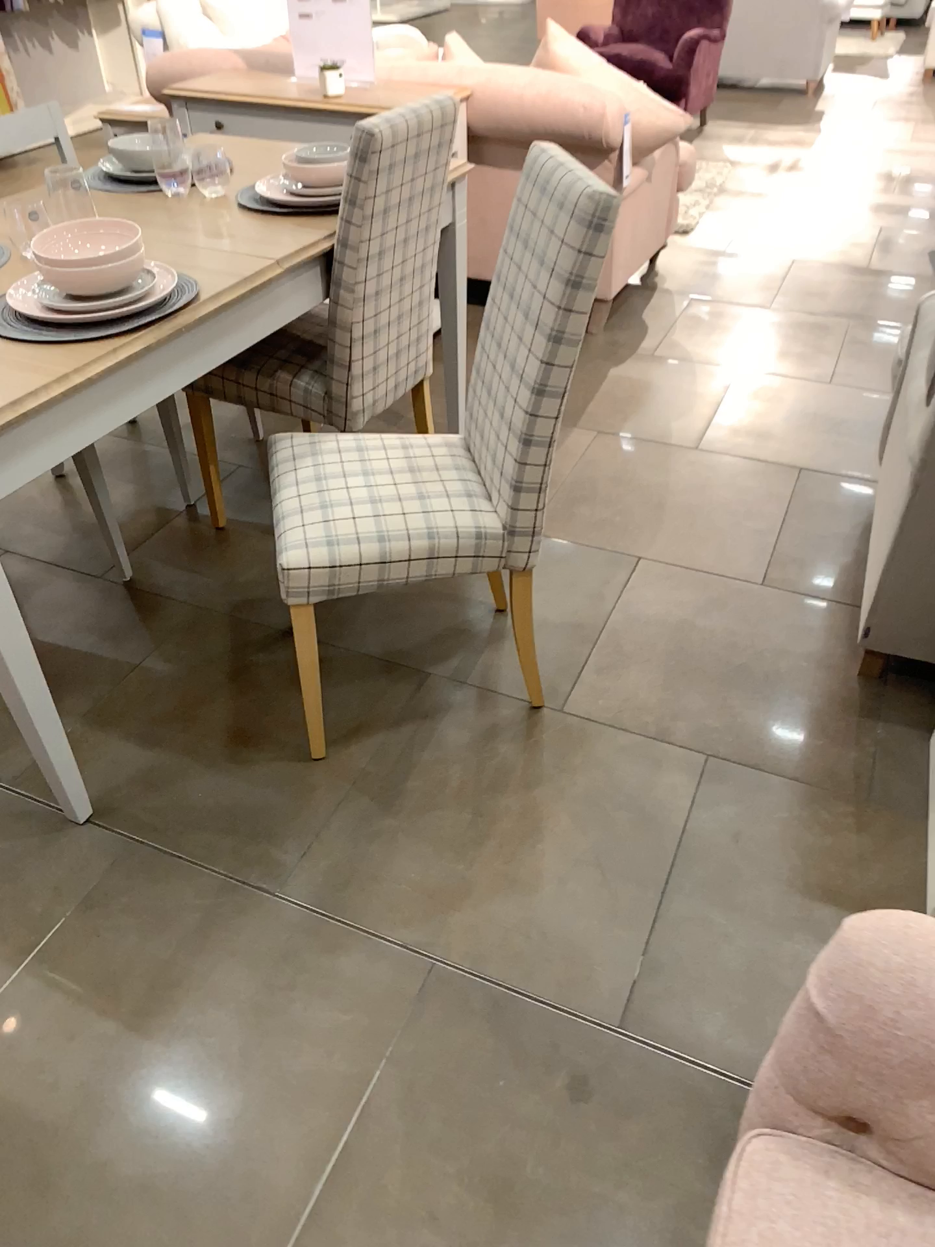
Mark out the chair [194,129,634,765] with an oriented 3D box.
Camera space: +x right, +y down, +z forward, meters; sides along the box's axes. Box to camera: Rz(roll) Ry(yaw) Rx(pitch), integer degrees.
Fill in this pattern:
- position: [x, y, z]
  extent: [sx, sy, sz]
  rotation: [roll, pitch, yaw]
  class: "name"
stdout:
- position: [-0.097, -0.286, 1.671]
  extent: [0.566, 0.937, 0.432]
  rotation: [-9, 39, -10]
  class: "chair"
